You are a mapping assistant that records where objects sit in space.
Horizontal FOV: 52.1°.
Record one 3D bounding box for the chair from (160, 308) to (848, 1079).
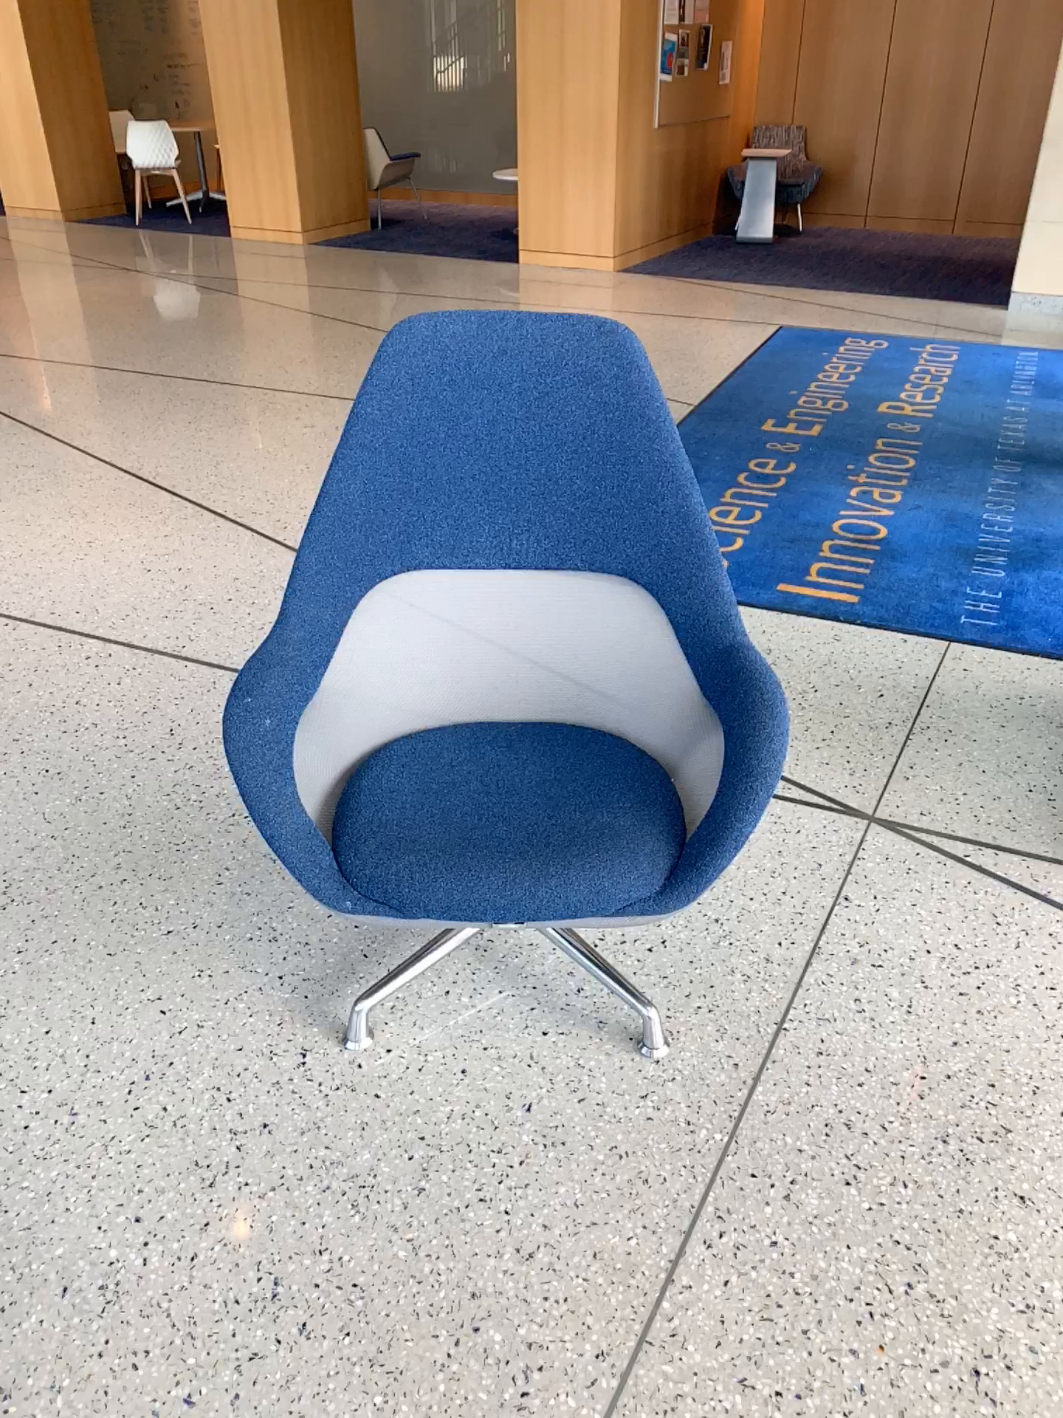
[{"bbox_3d":[-0.016,-0.063,1.717,0.724,0.933,0.791,0,31,2],"label":"chair"}]
